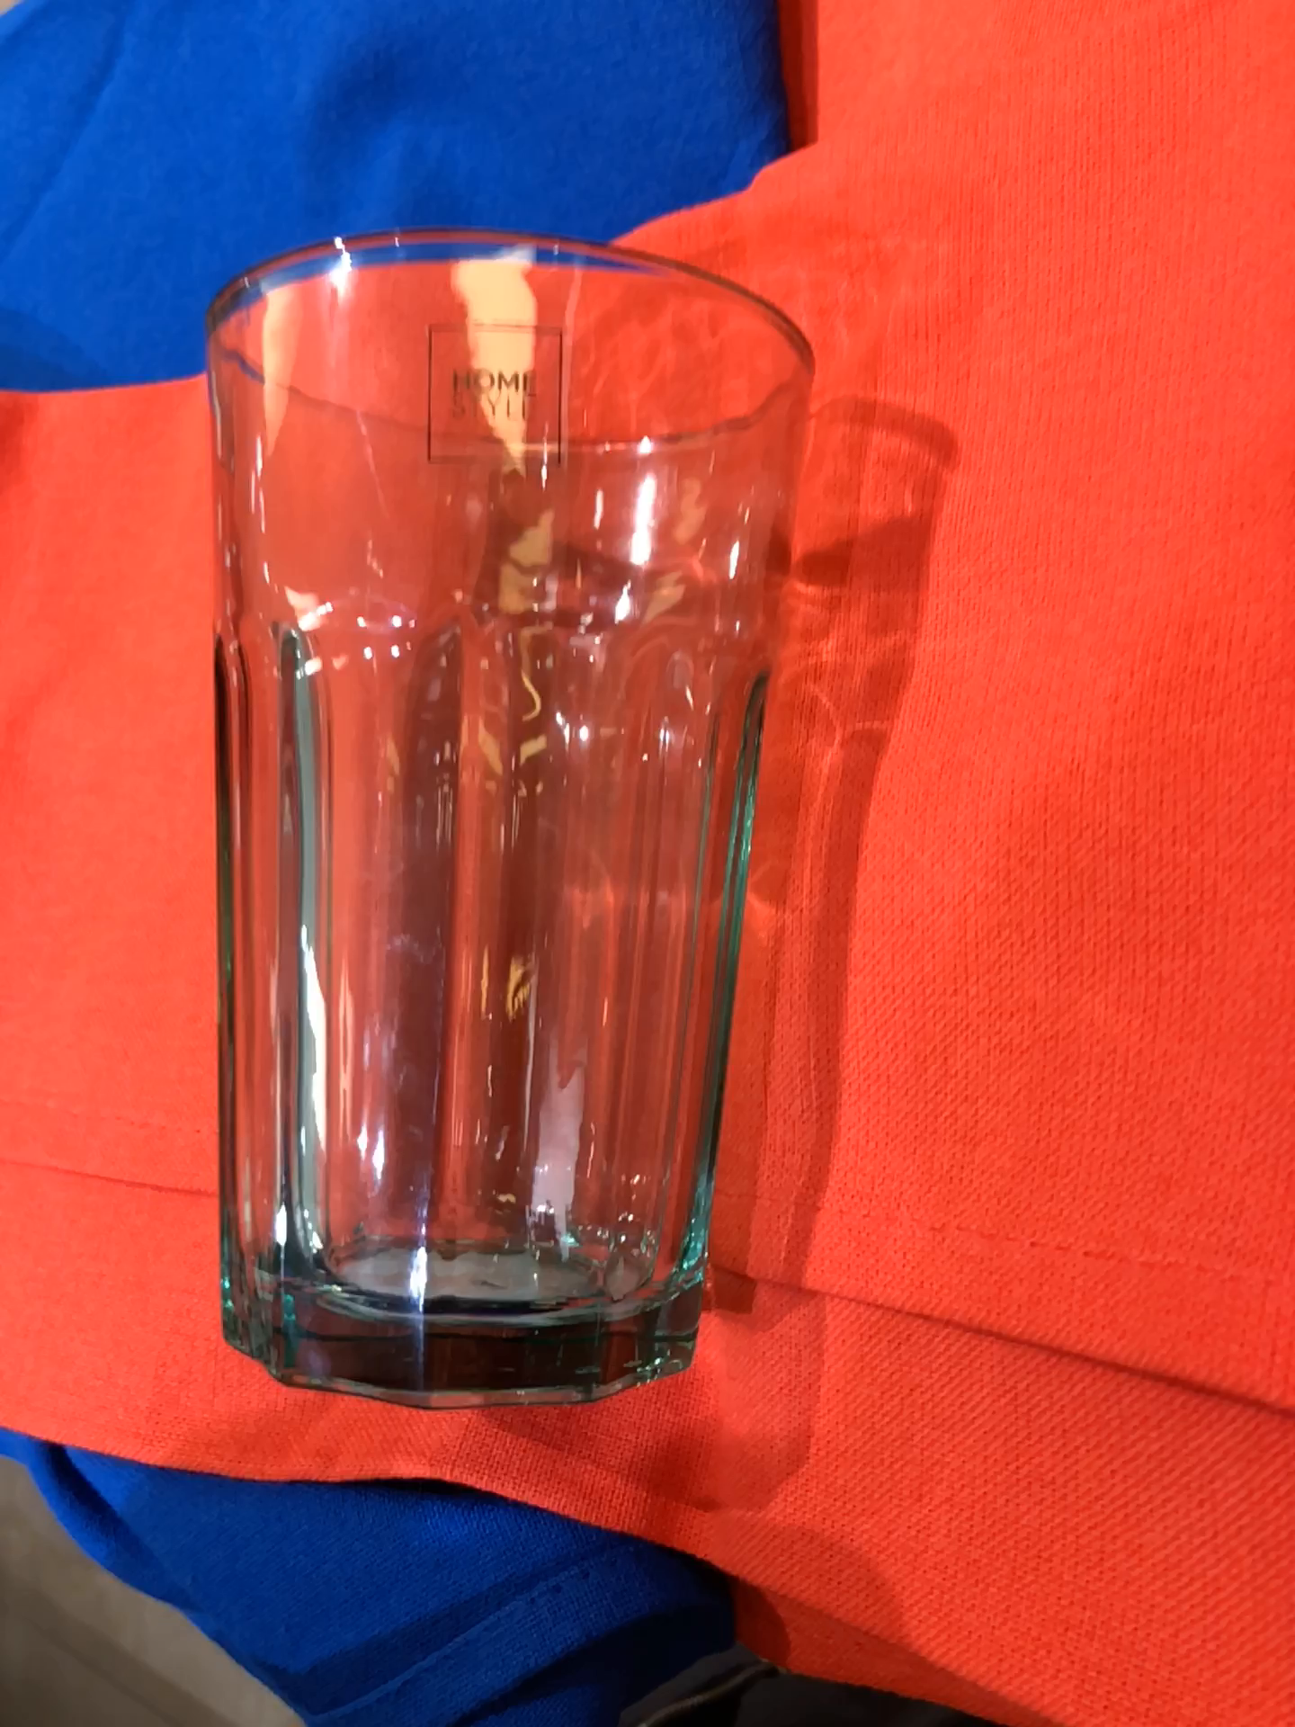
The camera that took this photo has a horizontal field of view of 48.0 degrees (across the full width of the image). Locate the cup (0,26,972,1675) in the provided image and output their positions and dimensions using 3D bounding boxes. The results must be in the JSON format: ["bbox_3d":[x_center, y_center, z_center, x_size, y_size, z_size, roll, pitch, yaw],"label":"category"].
[{"bbox_3d":[-0.019,-0.001,0.187,0.090,0.070,0.150,1,85,37],"label":"cup"}]
